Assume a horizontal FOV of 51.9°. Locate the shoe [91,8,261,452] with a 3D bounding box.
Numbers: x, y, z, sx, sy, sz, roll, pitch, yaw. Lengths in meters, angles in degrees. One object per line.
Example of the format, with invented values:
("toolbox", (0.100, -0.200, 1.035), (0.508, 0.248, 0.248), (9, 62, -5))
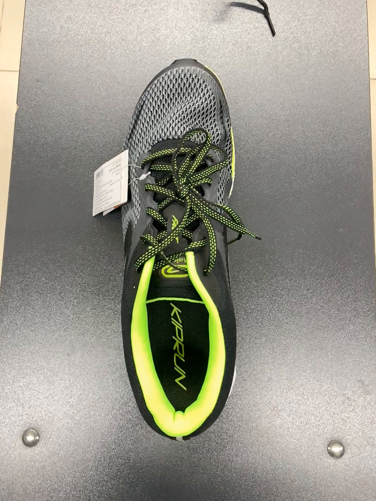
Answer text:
("shoe", (-0.008, -0.017, 0.322), (0.110, 0.110, 0.310), (-1, 83, 1))
